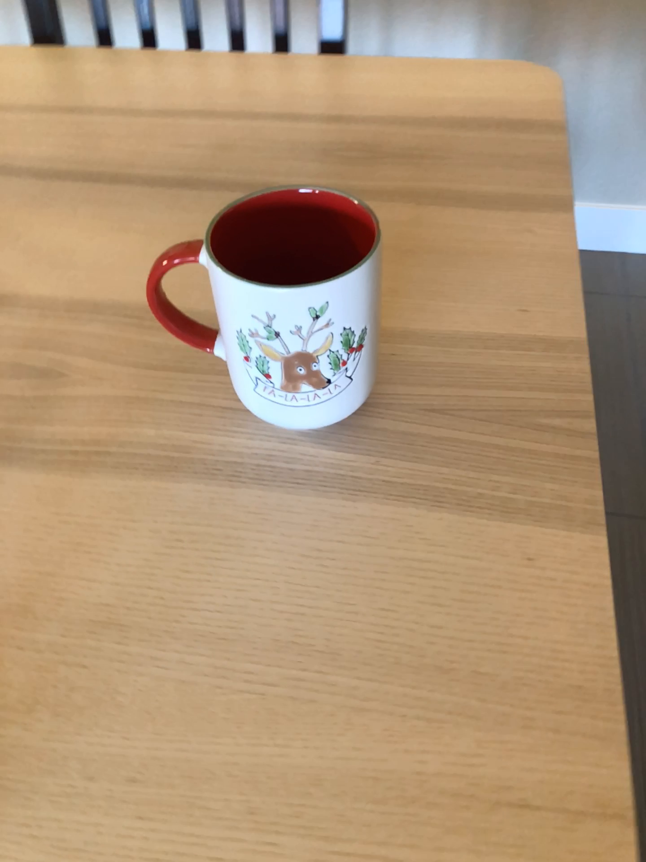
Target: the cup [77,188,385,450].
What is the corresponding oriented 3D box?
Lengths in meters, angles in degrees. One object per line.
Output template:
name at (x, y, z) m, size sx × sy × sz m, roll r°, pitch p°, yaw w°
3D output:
cup at (-0.038, -0.061, 0.393) m, size 0.140 × 0.100 × 0.100 m, roll 1°, pitch 48°, yaw 4°
